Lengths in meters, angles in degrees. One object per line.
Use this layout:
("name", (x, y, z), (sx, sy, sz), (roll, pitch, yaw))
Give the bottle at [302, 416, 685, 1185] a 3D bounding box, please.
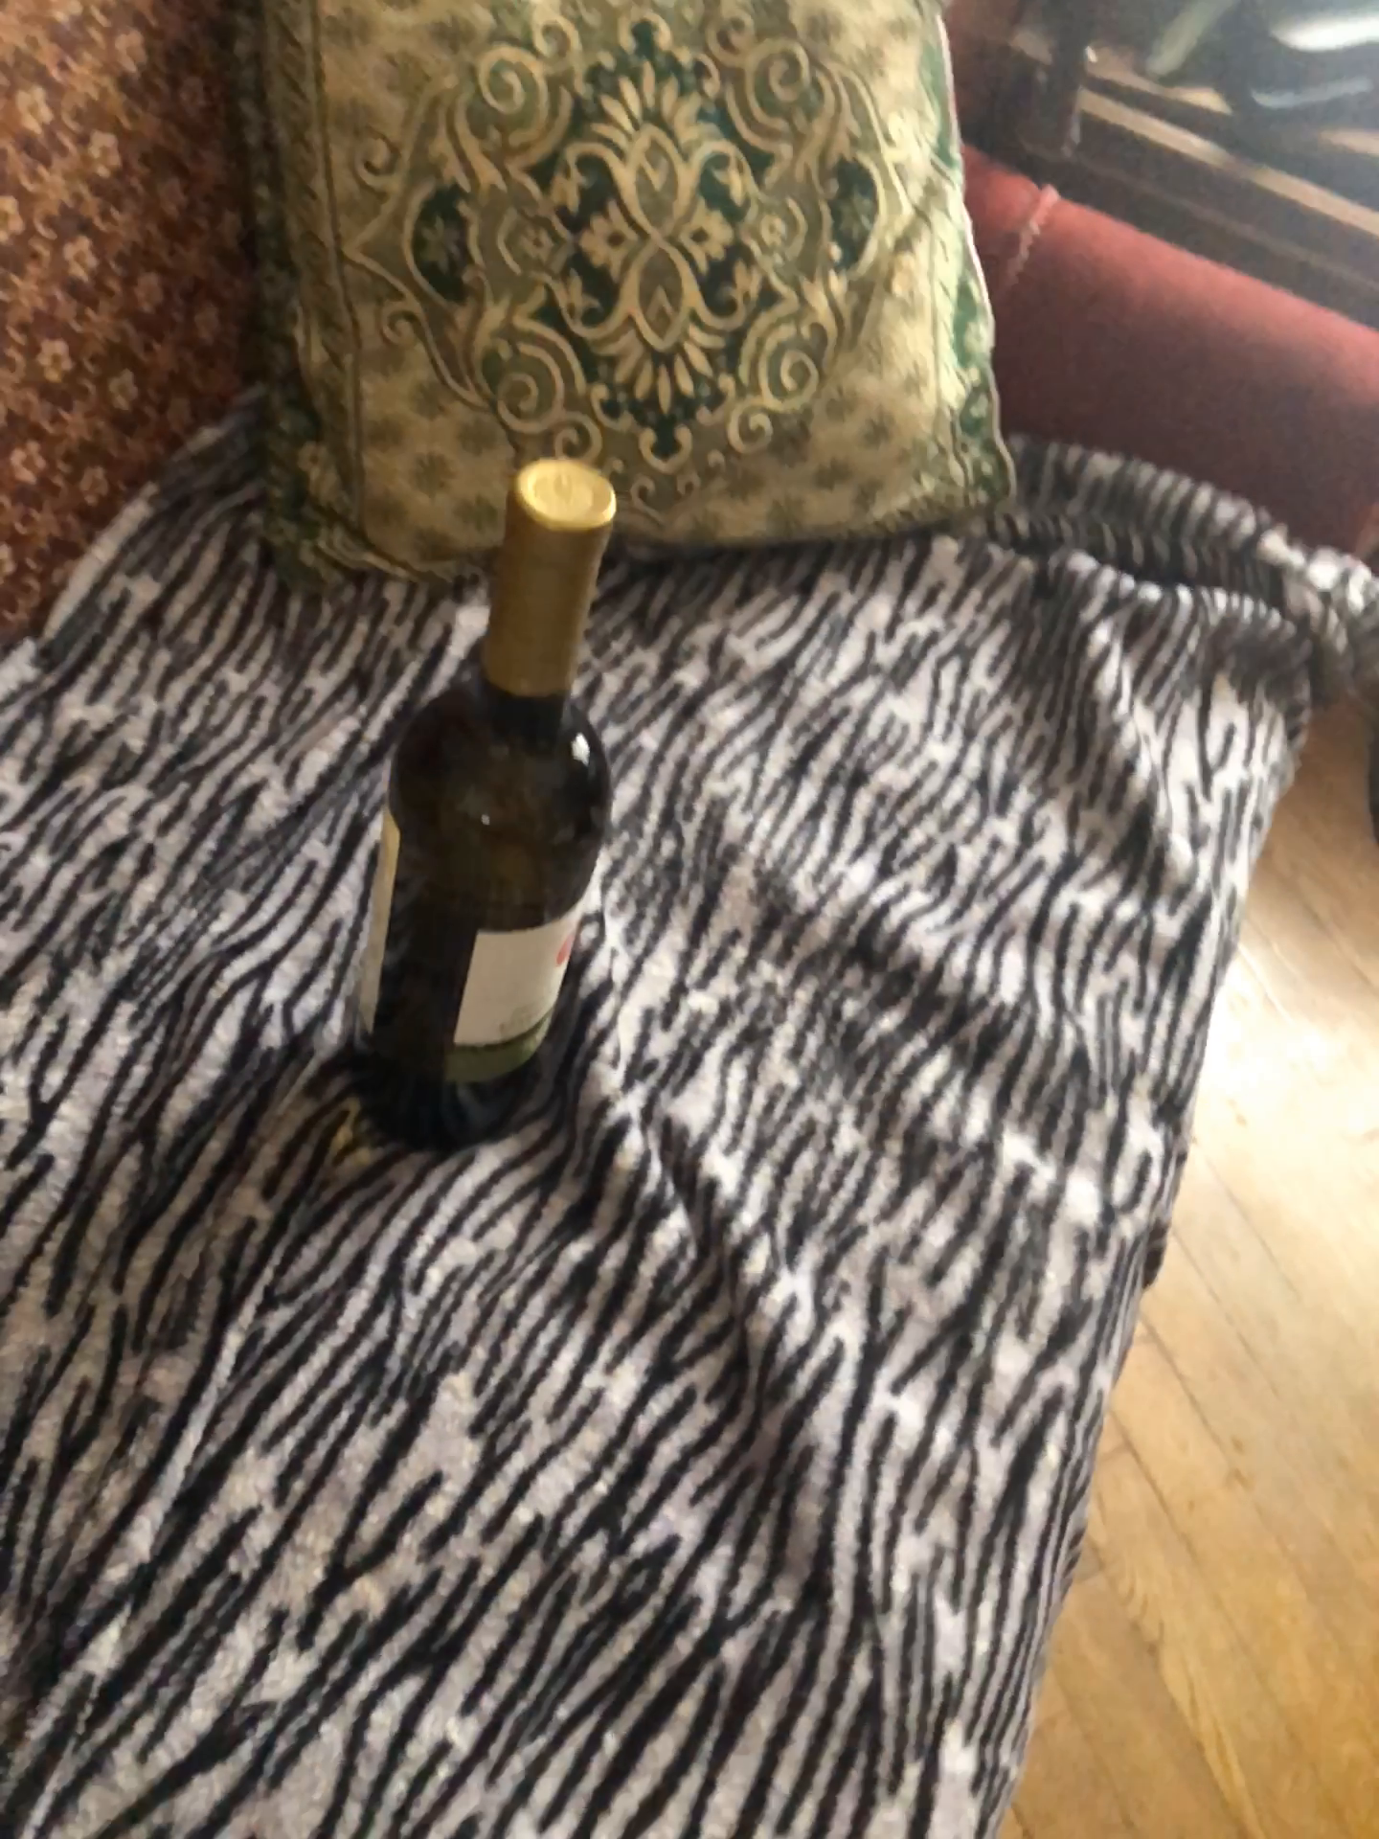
("bottle", (-0.075, -0.022, 0.518), (0.080, 0.268, 0.080), (7, 50, -8))
